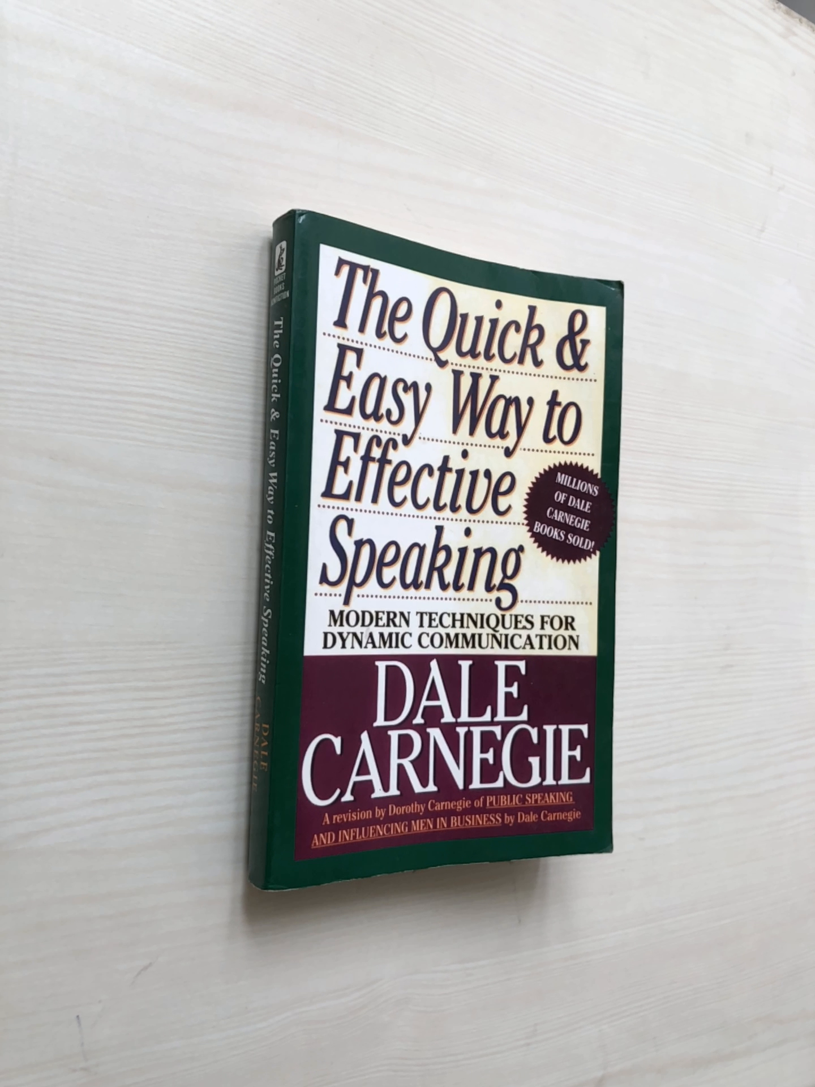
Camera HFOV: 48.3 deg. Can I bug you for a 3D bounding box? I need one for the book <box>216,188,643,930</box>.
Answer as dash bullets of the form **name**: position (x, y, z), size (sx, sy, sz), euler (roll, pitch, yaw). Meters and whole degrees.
- **book**: position (0.010, 0.006, 0.263), size (0.110, 0.040, 0.180), euler (5, 85, -27)
